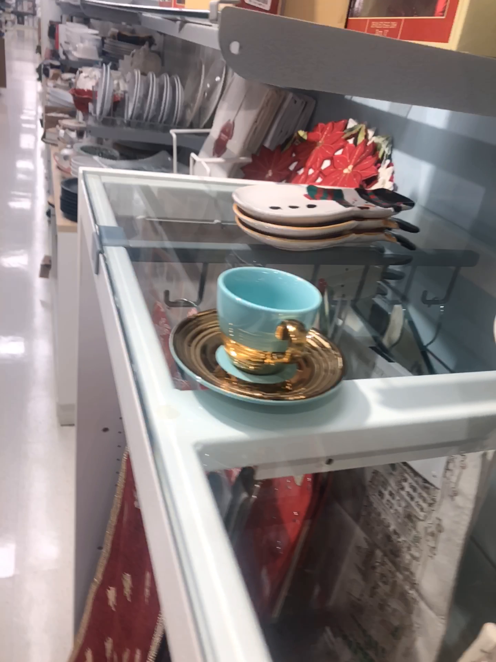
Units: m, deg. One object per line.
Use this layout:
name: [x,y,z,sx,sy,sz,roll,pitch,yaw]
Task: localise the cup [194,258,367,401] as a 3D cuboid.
cup: [0.015,-0.005,0.338,0.070,0.050,0.084,-3,30,-23]
